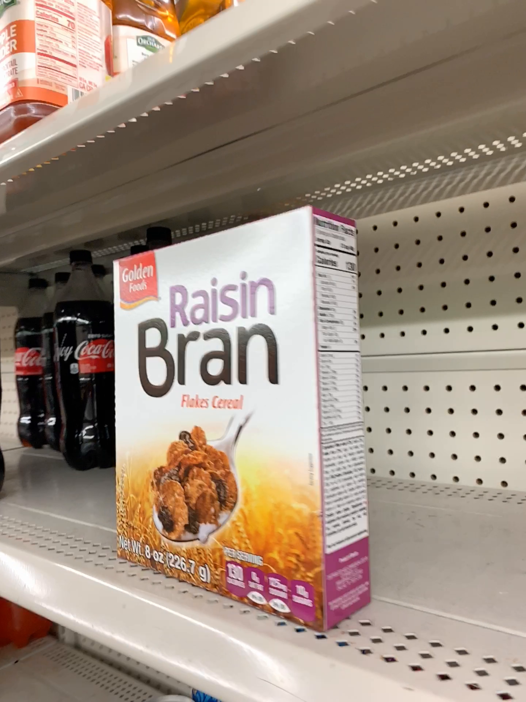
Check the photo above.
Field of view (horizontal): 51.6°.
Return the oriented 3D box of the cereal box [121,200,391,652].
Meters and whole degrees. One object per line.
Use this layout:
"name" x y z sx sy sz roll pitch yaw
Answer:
"cereal box" -0.018 0.041 0.362 0.190 0.230 0.050 -4 -3 43
